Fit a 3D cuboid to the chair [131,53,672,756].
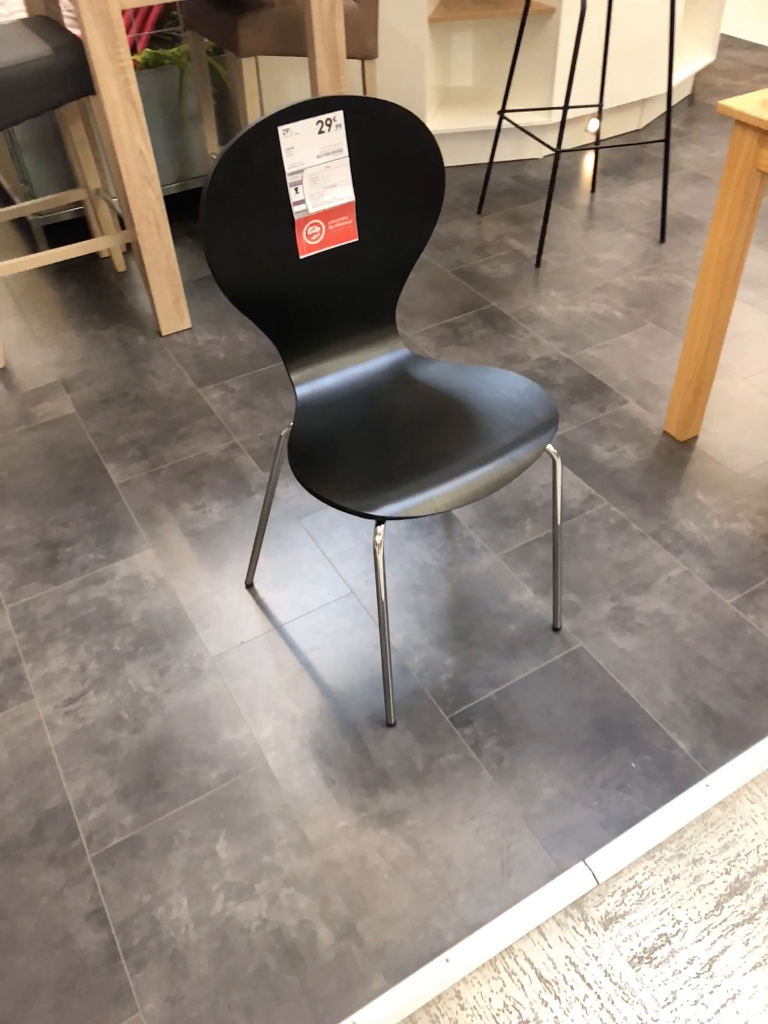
[{"bbox_3d":[0.016,-0.154,1.358,0.492,0.895,0.501,-24,47,-22],"label":"chair"}]
